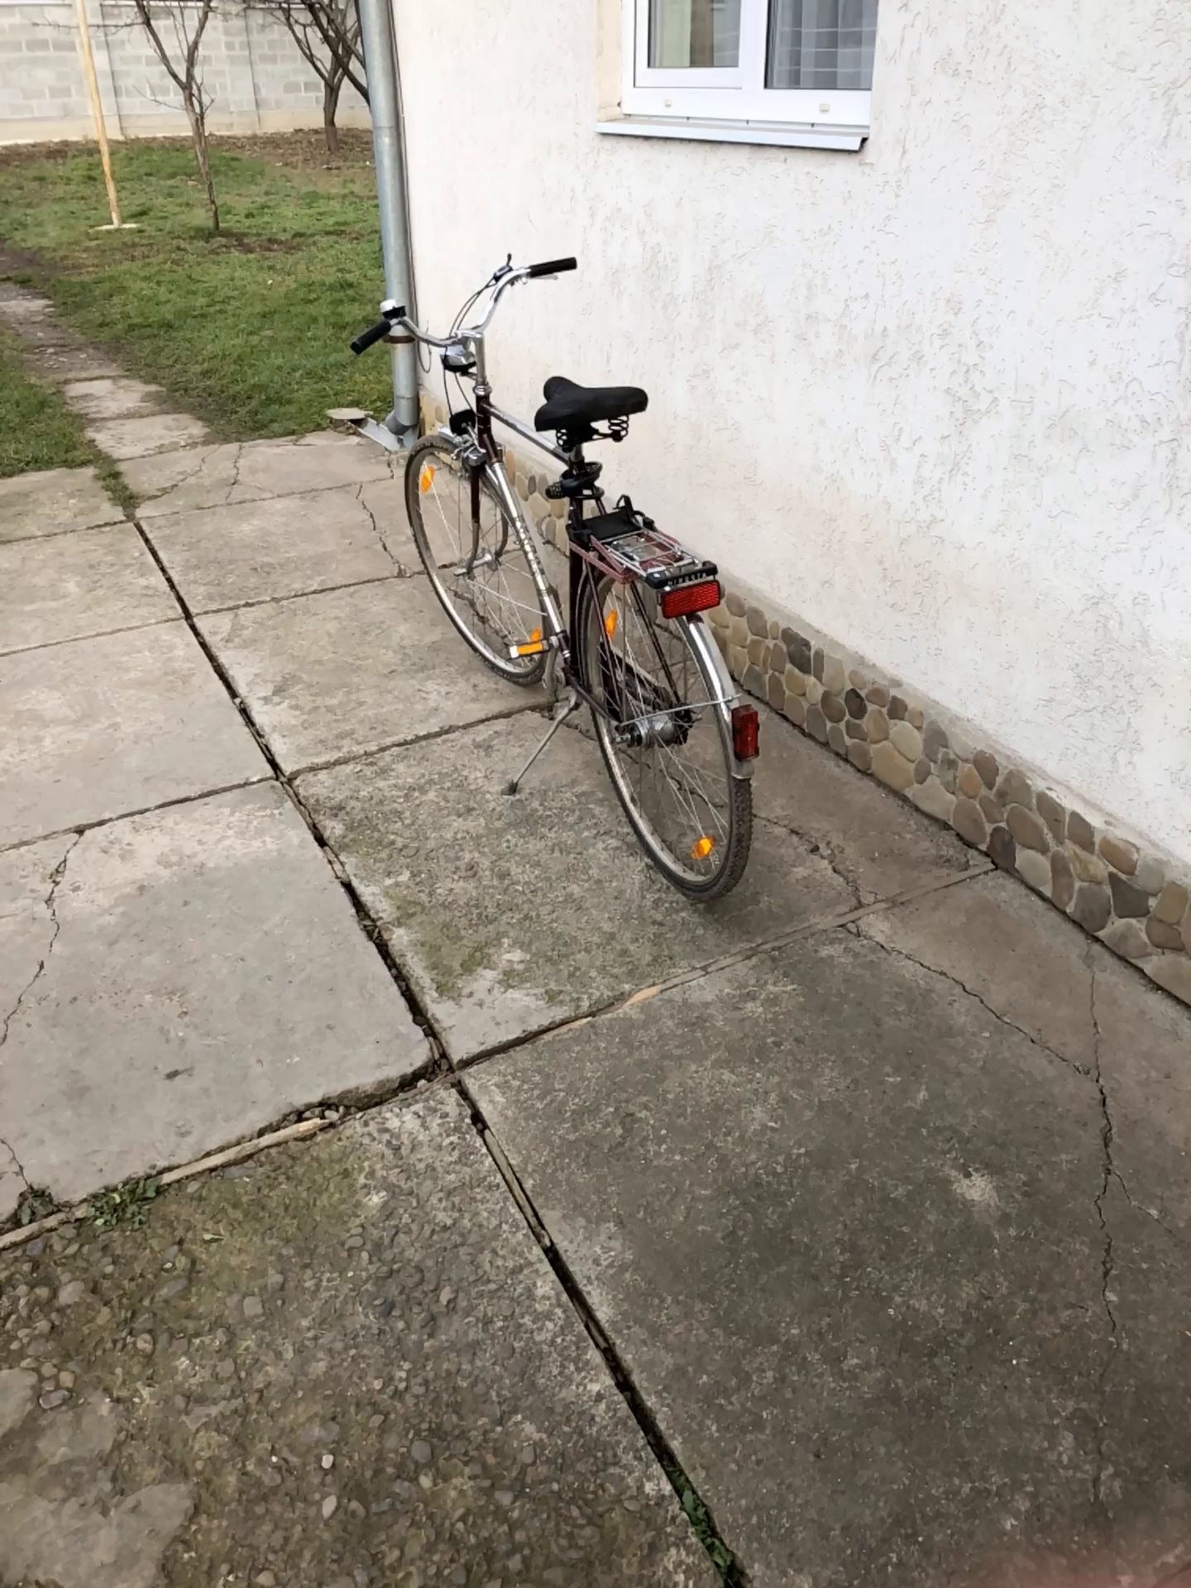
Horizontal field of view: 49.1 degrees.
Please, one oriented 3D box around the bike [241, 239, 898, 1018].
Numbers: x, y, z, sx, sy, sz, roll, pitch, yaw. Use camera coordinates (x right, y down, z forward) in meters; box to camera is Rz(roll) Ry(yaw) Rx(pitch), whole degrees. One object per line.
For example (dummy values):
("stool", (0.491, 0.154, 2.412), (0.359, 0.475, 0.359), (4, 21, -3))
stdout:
("bike", (-0.188, -0.510, 2.784), (0.597, 1.054, 1.719), (-14, 32, -22))
